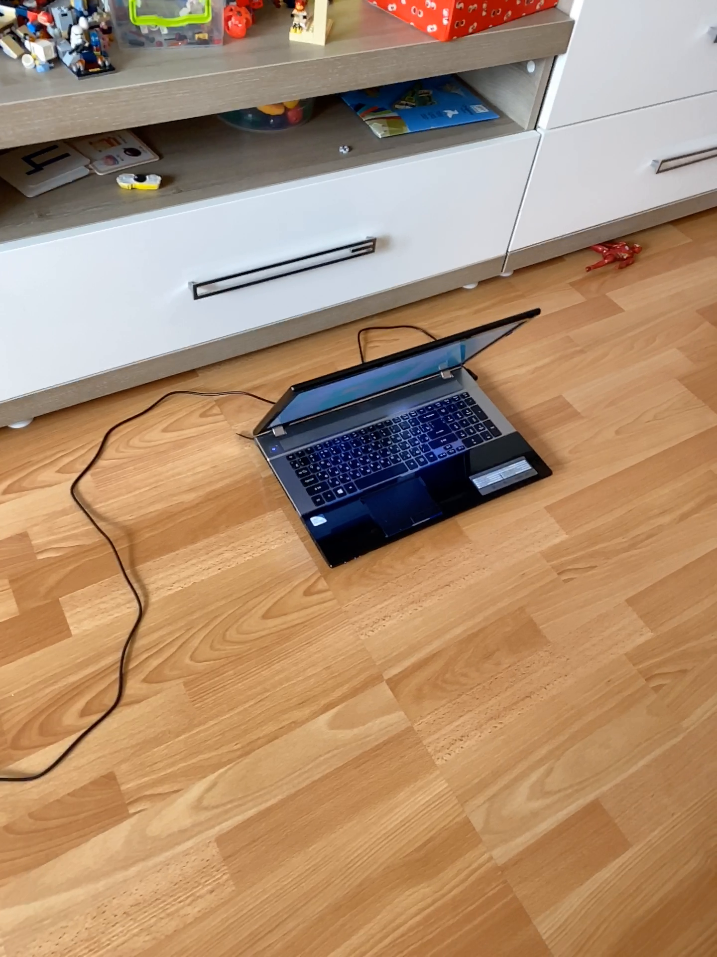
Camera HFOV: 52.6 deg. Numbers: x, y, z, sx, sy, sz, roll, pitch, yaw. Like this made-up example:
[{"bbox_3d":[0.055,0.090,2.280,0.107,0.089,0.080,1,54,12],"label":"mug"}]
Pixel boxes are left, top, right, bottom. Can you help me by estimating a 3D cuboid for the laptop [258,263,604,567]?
[{"bbox_3d":[0.090,-0.108,1.103,0.412,0.233,0.269,-20,56,-21],"label":"laptop"}]
